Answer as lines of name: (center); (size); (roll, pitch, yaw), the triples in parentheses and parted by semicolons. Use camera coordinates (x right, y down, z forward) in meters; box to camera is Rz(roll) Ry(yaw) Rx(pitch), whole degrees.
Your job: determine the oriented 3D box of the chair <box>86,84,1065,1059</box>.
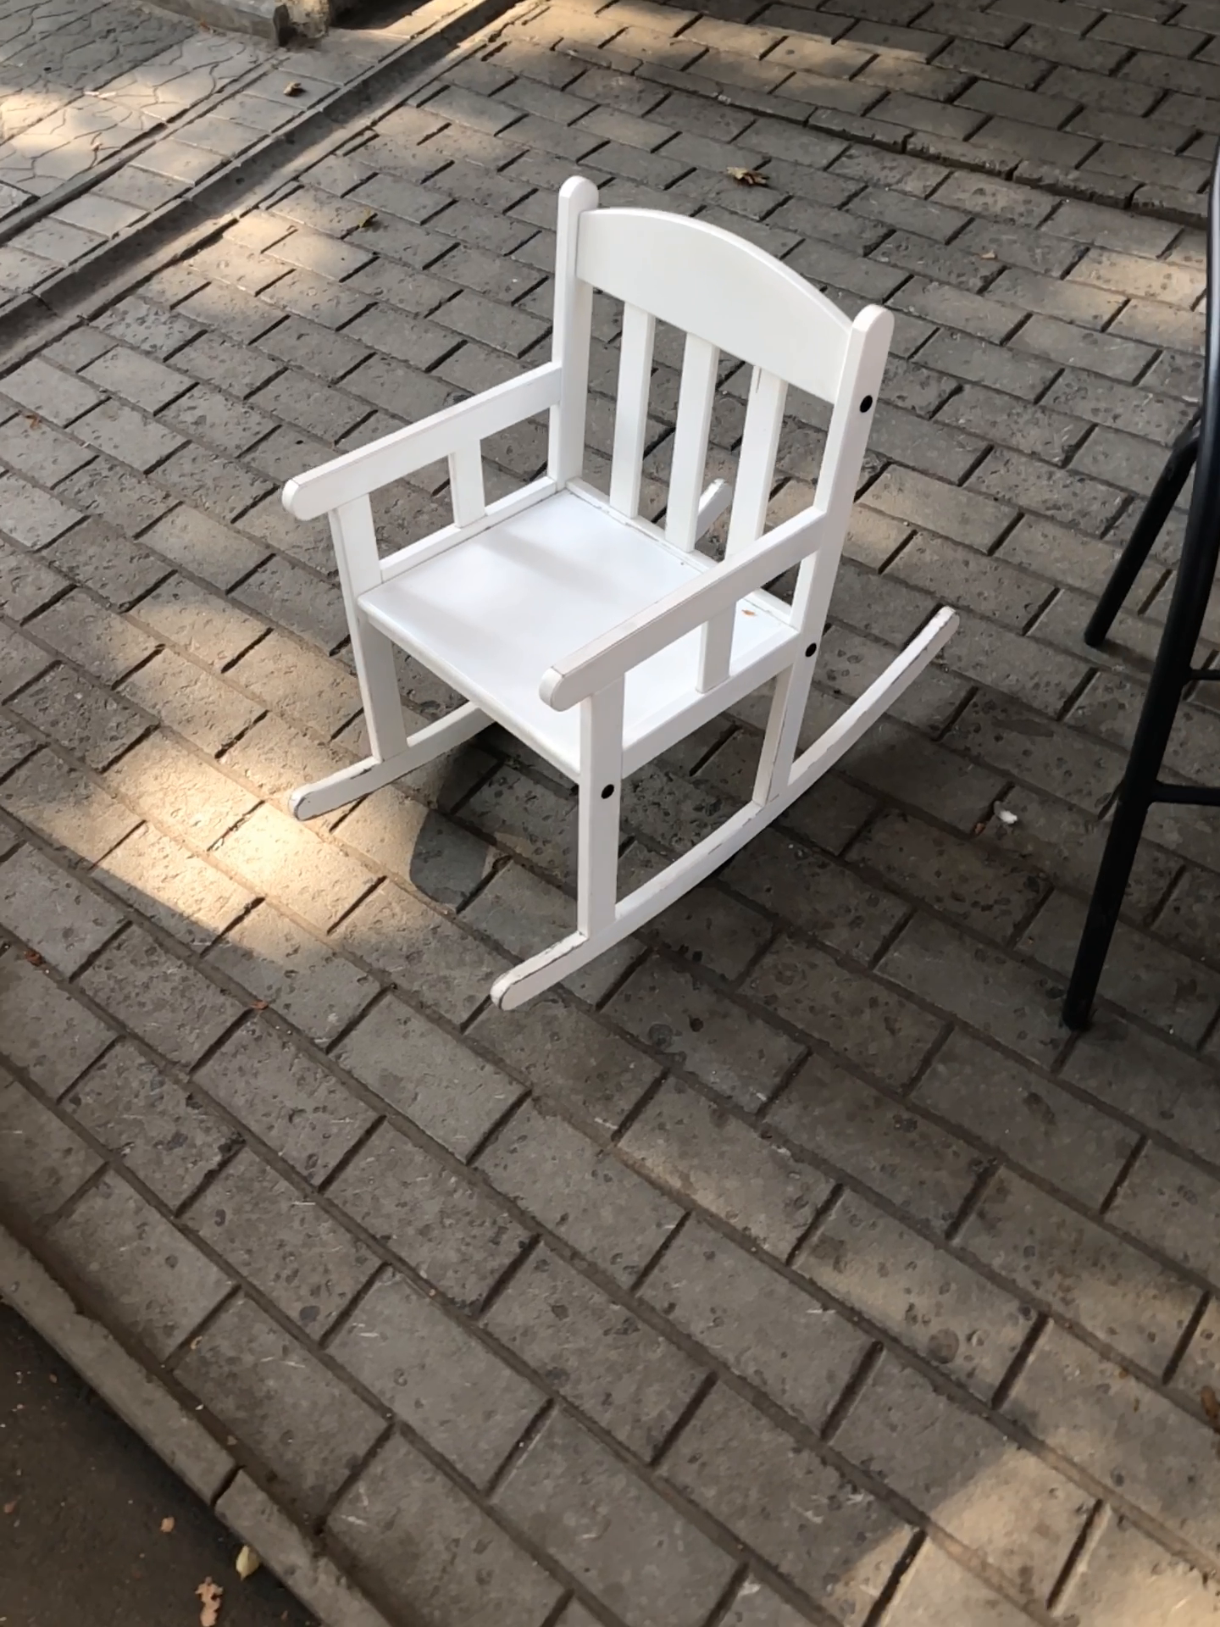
chair: (0.011, -0.243, 1.281); (0.731, 0.518, 0.381); (-39, 57, -22)
